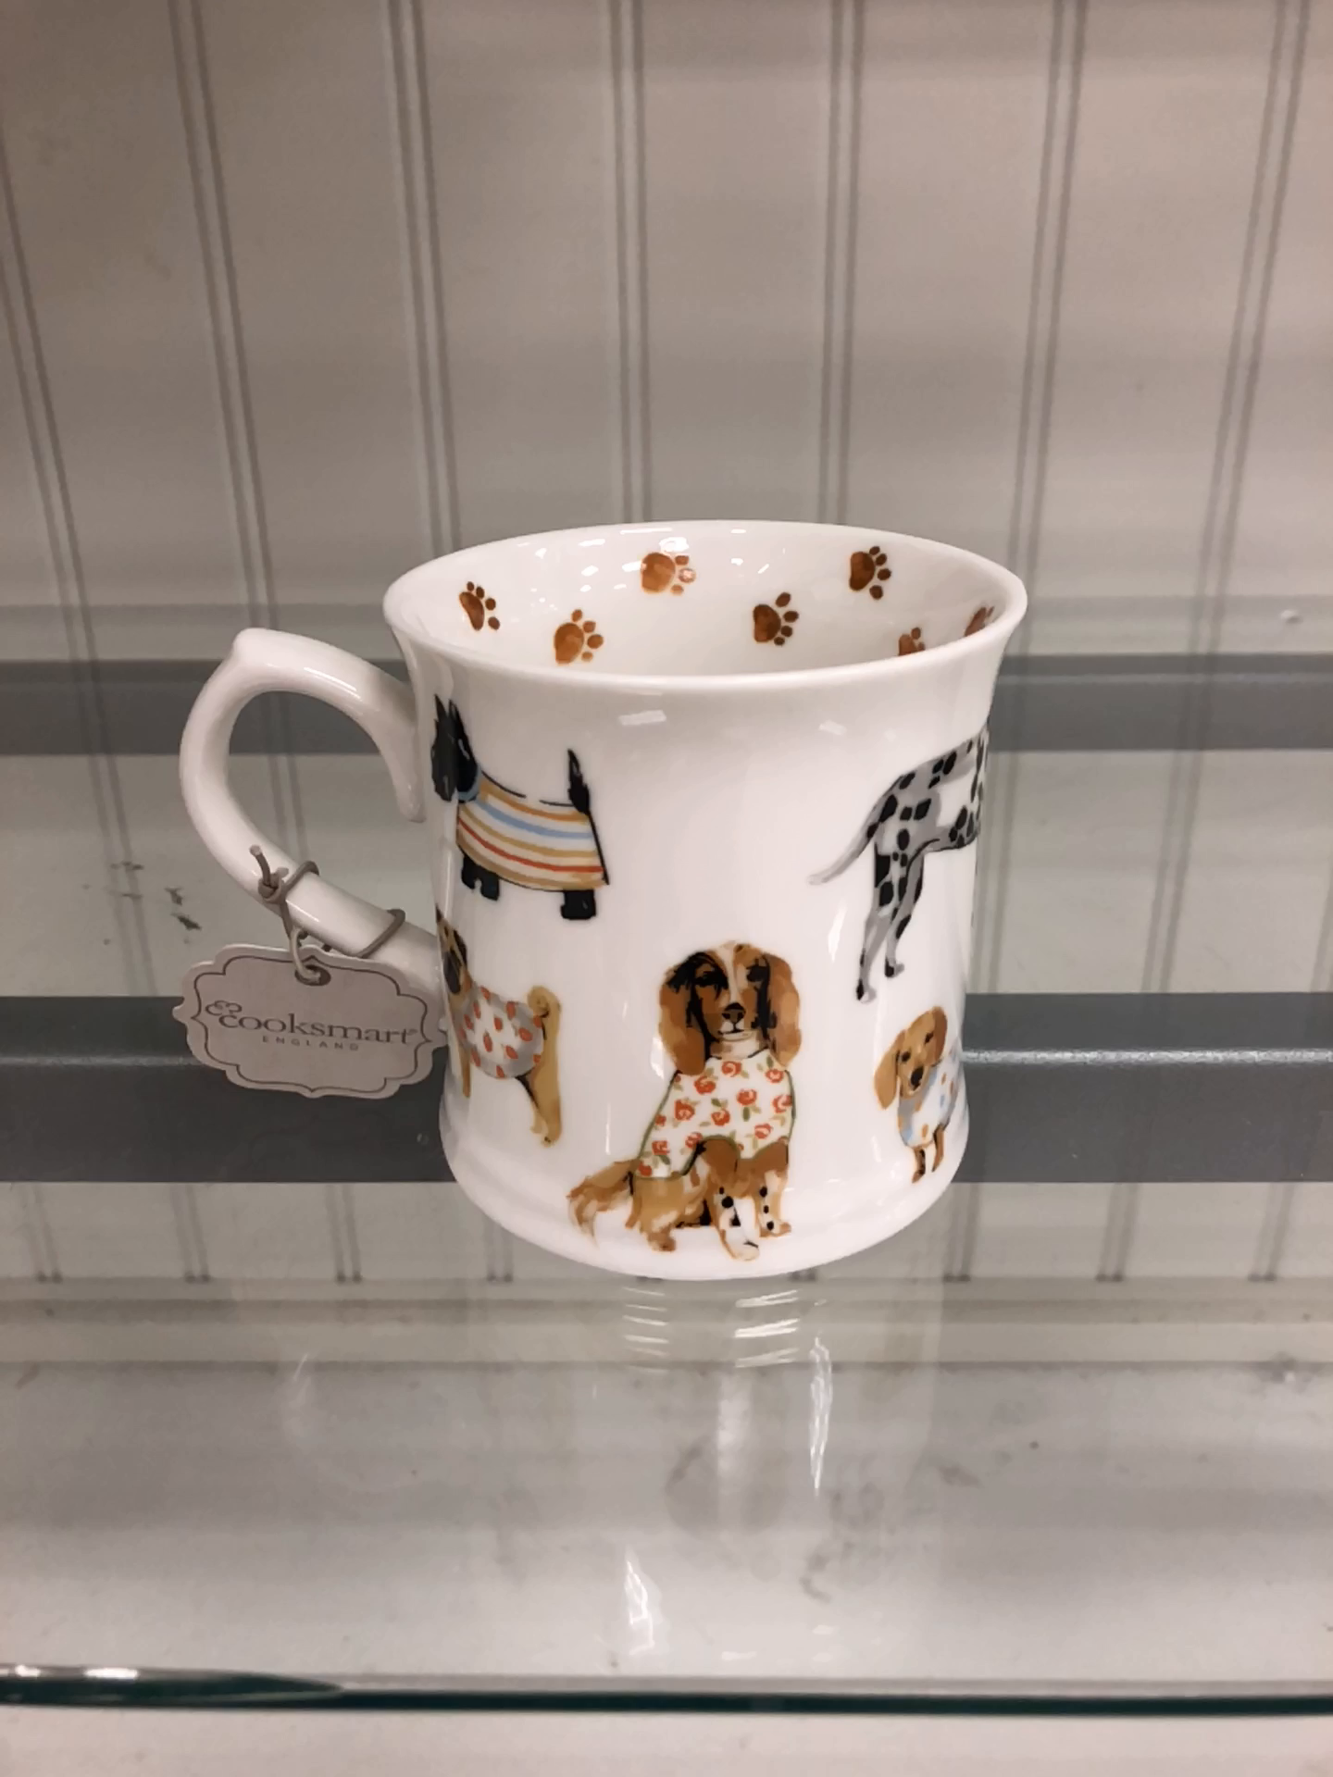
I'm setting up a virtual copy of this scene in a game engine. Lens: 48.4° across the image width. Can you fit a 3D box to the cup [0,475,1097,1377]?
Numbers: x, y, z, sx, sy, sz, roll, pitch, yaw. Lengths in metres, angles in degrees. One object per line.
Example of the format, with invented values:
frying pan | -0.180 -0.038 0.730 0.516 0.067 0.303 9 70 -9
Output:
cup | -0.007 -0.006 0.222 0.125 0.089 0.101 4 25 11
